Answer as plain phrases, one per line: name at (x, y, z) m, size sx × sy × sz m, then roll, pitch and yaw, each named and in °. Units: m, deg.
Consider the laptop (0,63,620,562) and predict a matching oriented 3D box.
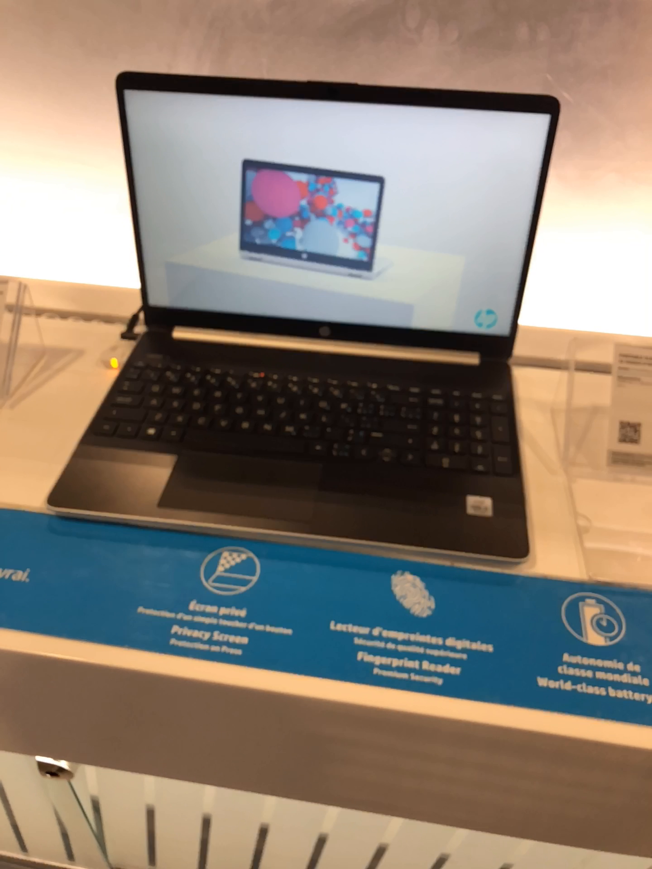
laptop at (-0.014, -0.109, 0.547) m, size 0.355 × 0.221 × 0.284 m, roll 6°, pitch 42°, yaw 6°
